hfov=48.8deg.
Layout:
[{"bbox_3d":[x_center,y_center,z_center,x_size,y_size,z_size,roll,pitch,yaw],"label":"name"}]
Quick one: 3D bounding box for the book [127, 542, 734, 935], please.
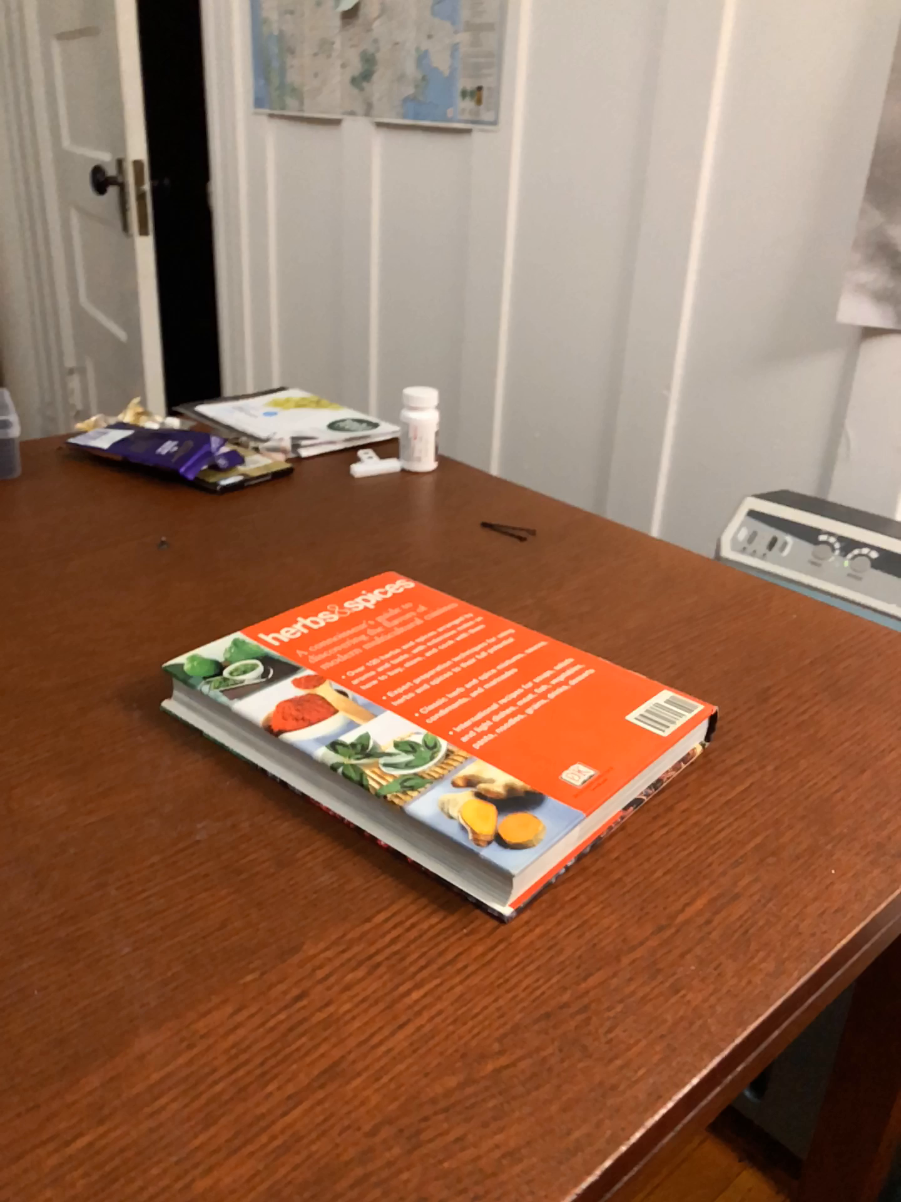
[{"bbox_3d":[-0.013,0.050,0.567,0.270,0.040,0.211,23,32,35],"label":"book"}]
